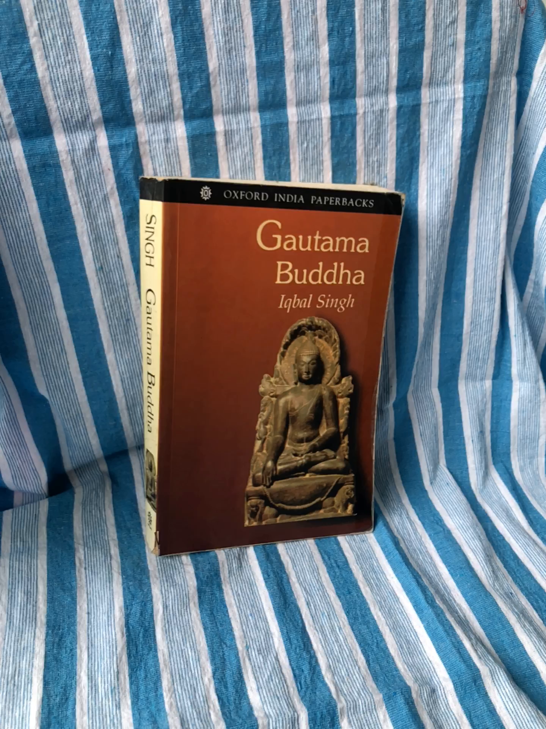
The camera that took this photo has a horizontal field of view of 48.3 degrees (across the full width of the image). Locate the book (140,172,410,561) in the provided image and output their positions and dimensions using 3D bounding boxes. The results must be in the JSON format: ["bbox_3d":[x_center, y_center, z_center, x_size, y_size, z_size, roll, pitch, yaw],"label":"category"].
[{"bbox_3d":[-0.002,0.001,0.354,0.140,0.209,0.040,-2,15,-15],"label":"book"}]
